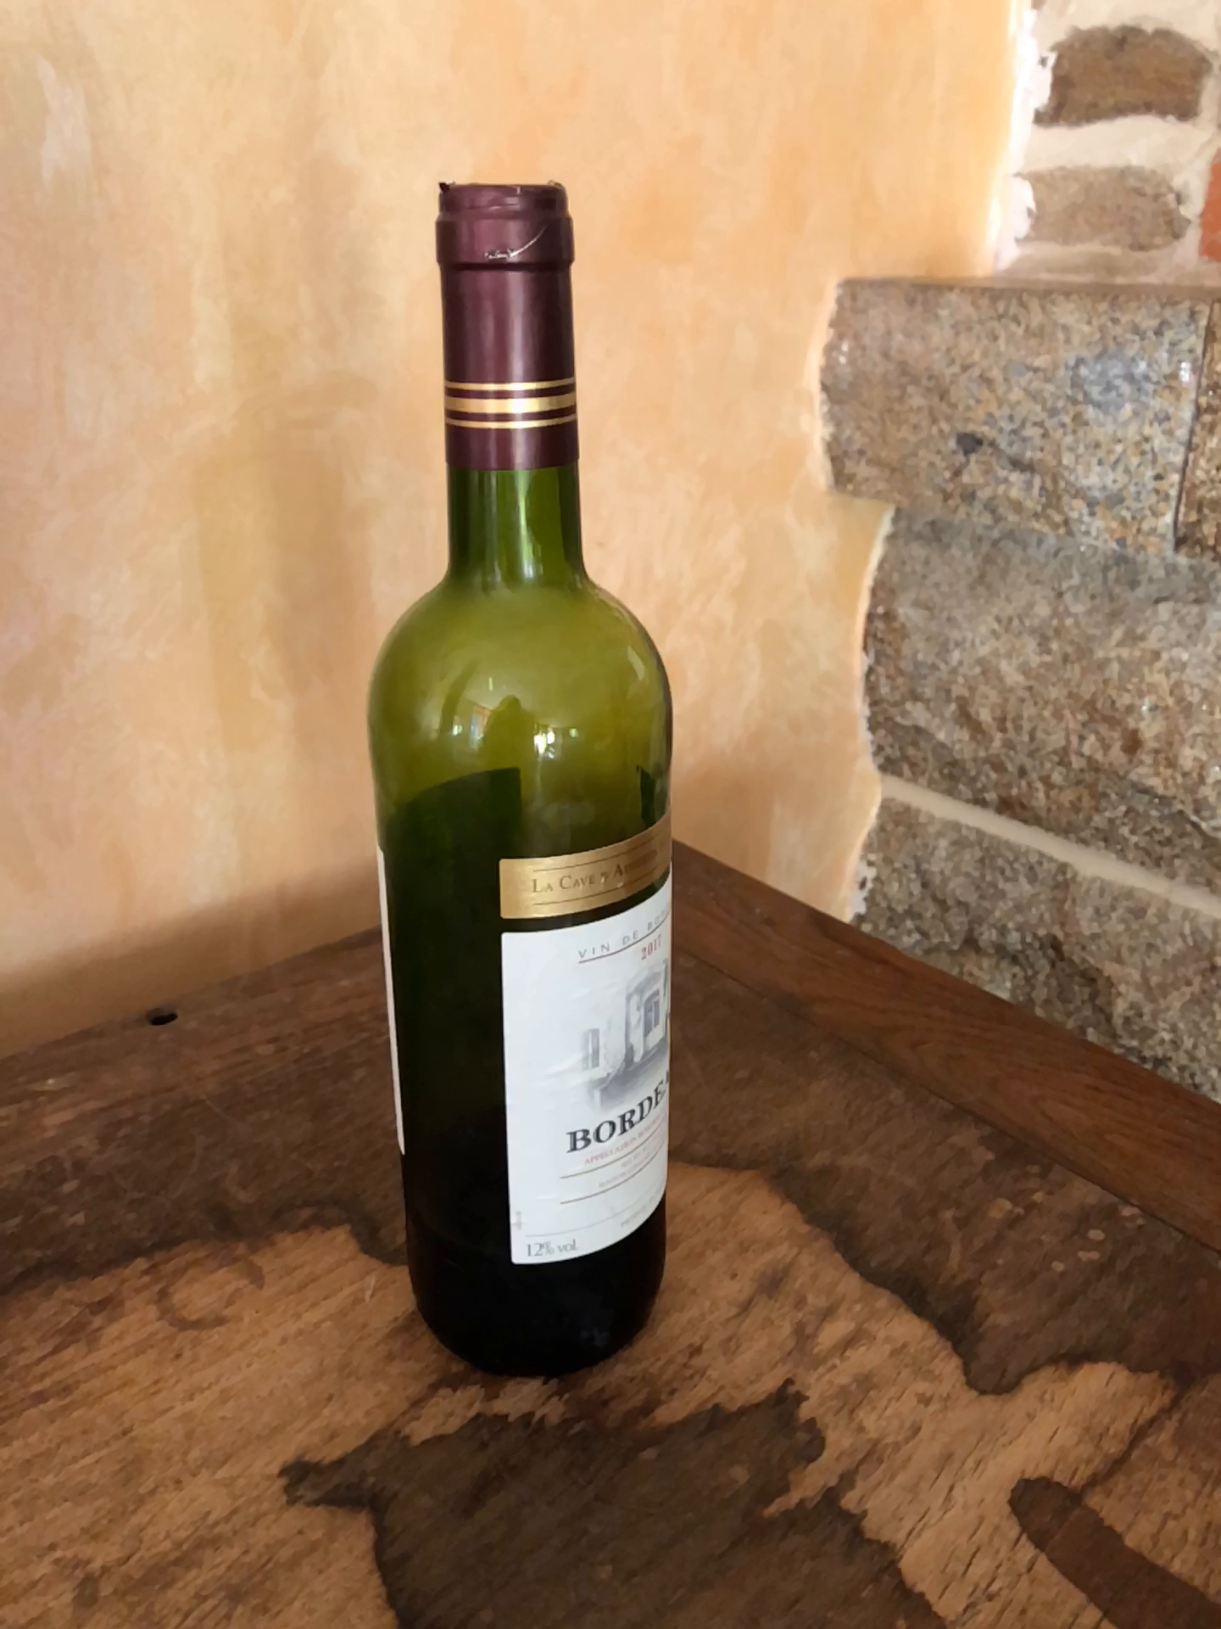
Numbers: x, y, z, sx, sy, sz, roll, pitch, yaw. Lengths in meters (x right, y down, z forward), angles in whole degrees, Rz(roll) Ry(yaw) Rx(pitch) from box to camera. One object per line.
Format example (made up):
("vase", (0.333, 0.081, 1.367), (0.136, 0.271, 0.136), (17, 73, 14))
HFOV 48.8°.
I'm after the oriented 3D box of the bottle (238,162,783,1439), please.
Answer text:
("bottle", (-0.019, 0.000, 0.336), (0.080, 0.289, 0.091), (11, 24, 23))
